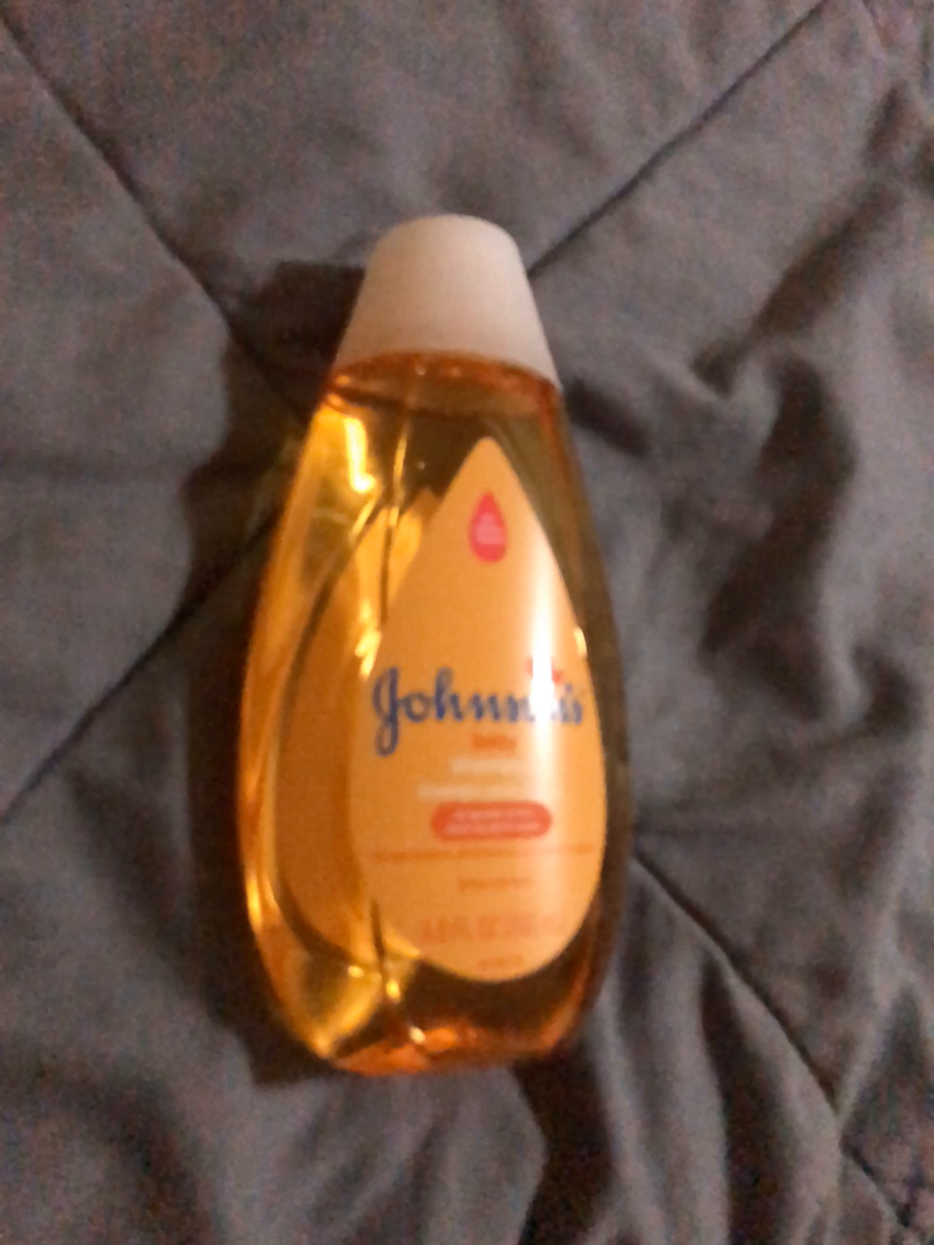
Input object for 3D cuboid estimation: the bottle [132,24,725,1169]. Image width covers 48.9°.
[{"bbox_3d":[-0.010,-0.007,0.177,0.084,0.040,0.160,0,82,-25],"label":"bottle"}]
